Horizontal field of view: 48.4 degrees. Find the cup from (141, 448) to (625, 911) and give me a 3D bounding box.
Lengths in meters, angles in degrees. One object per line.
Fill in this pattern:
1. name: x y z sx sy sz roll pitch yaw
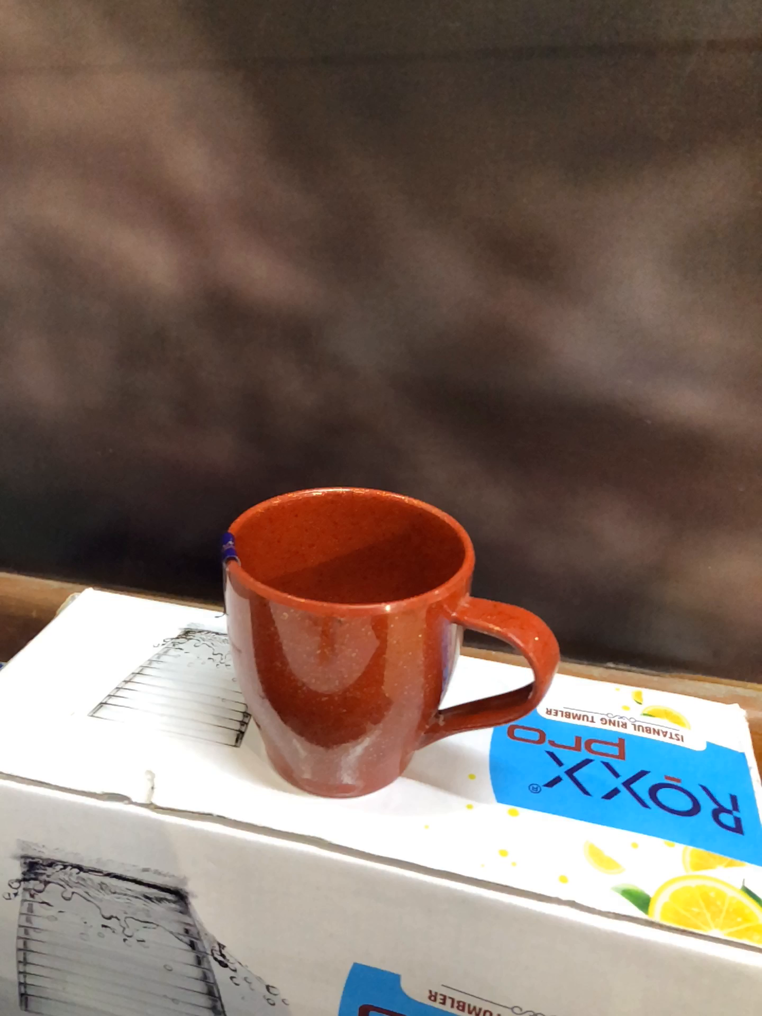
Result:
1. cup: 0.002 0.036 0.226 0.100 0.070 0.070 13 26 25
